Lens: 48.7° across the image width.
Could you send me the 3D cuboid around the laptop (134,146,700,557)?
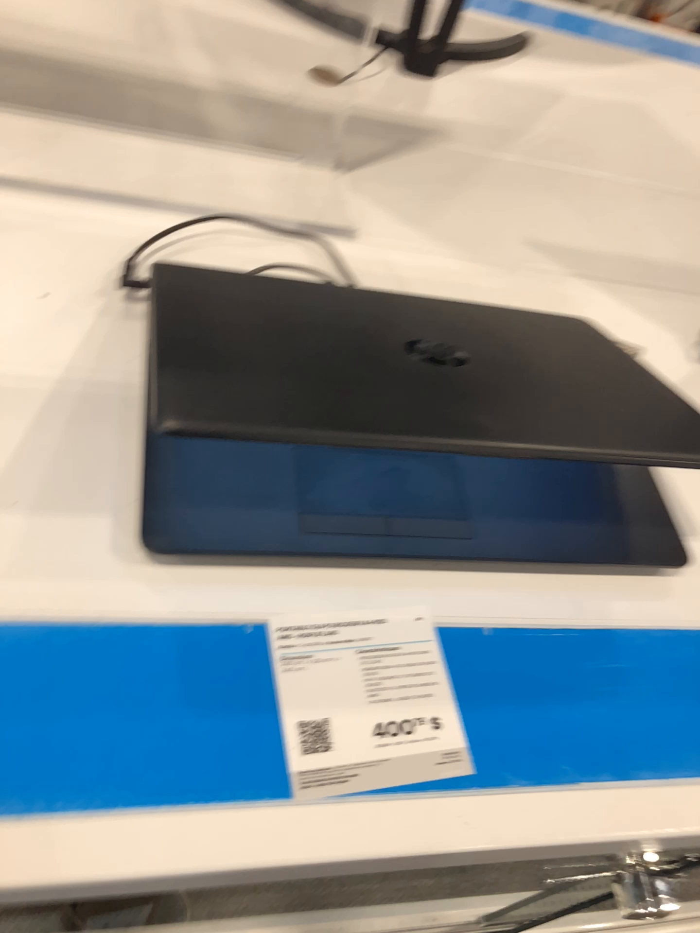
[{"bbox_3d":[0.054,-0.067,0.507,0.366,0.092,0.235,4,51,-21],"label":"laptop"}]
